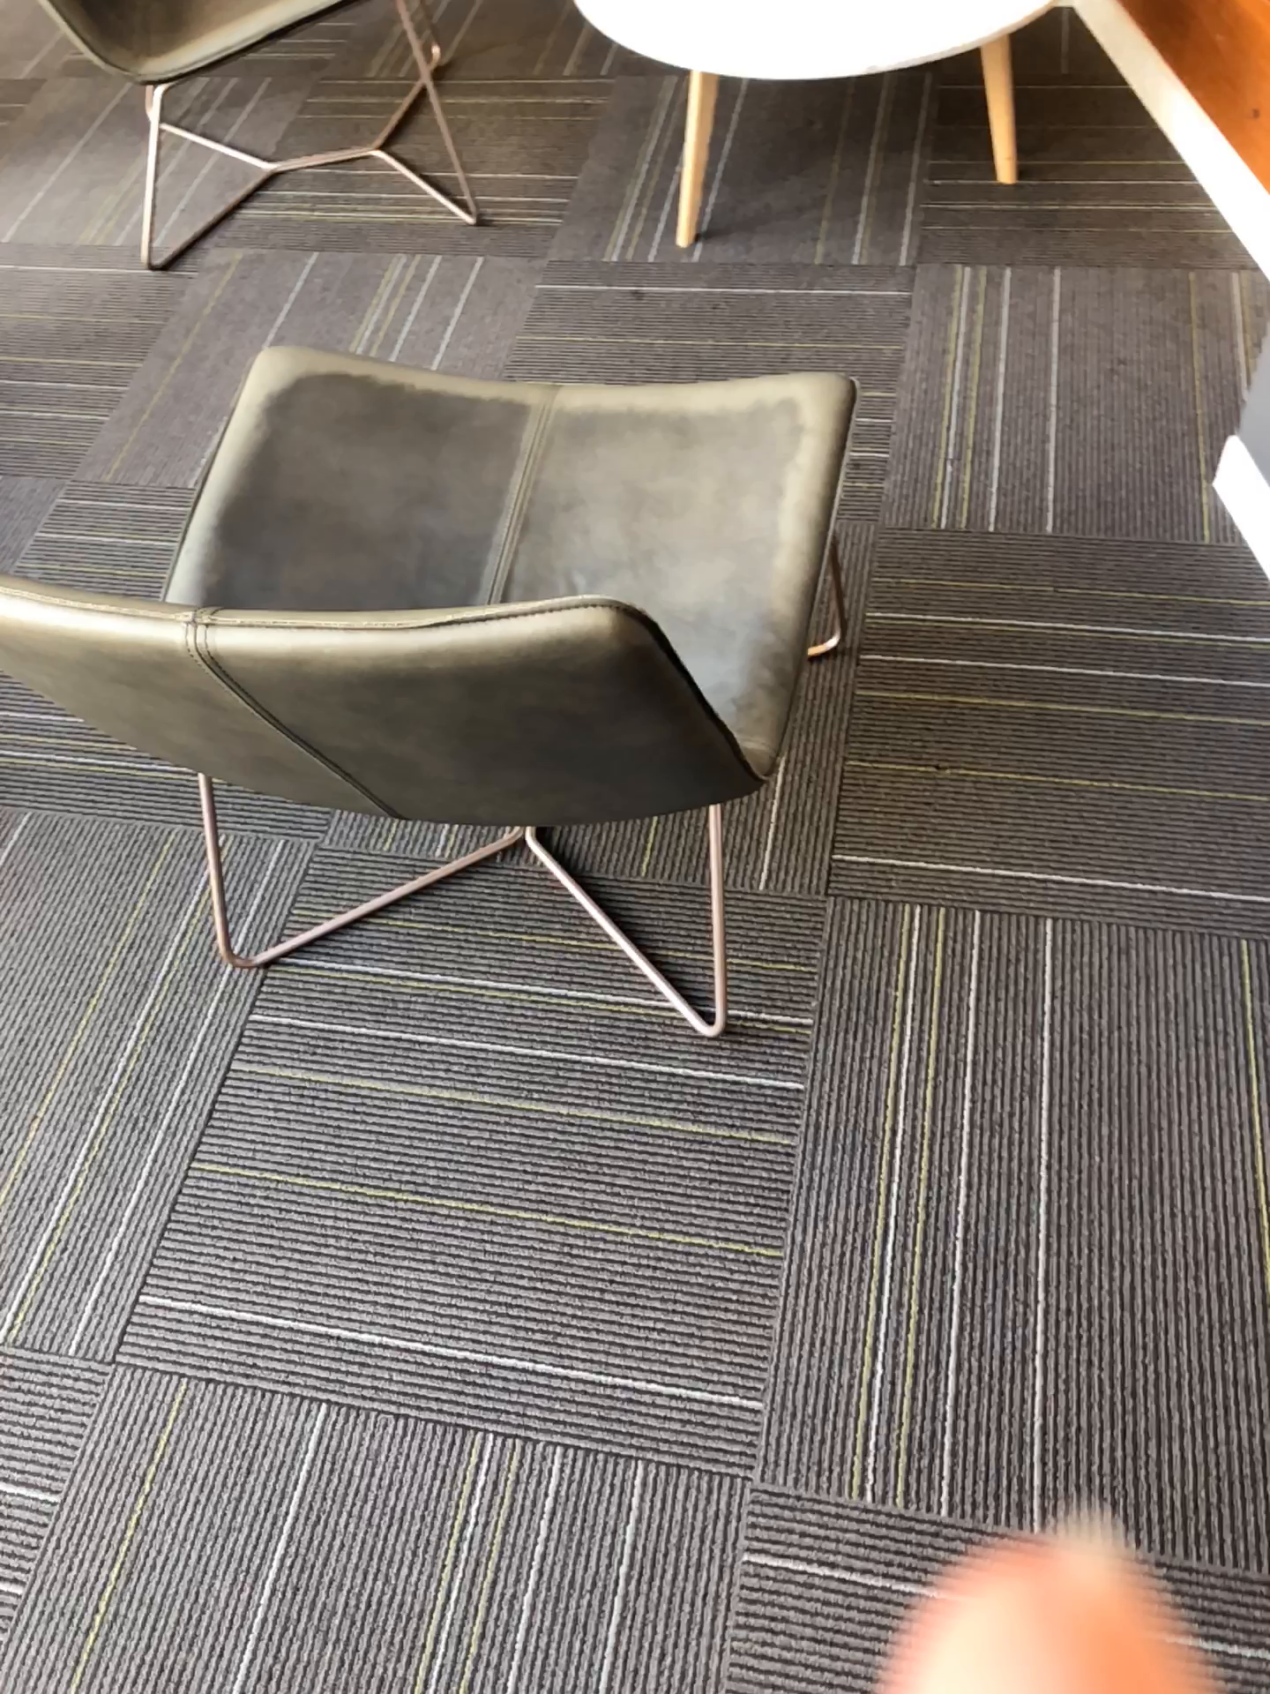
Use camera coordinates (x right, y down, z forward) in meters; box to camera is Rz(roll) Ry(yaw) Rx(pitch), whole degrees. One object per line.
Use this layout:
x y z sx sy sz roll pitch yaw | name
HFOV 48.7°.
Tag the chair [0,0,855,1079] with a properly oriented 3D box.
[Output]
-0.171 -0.286 1.365 0.671 0.877 0.652 7 61 11 | chair
